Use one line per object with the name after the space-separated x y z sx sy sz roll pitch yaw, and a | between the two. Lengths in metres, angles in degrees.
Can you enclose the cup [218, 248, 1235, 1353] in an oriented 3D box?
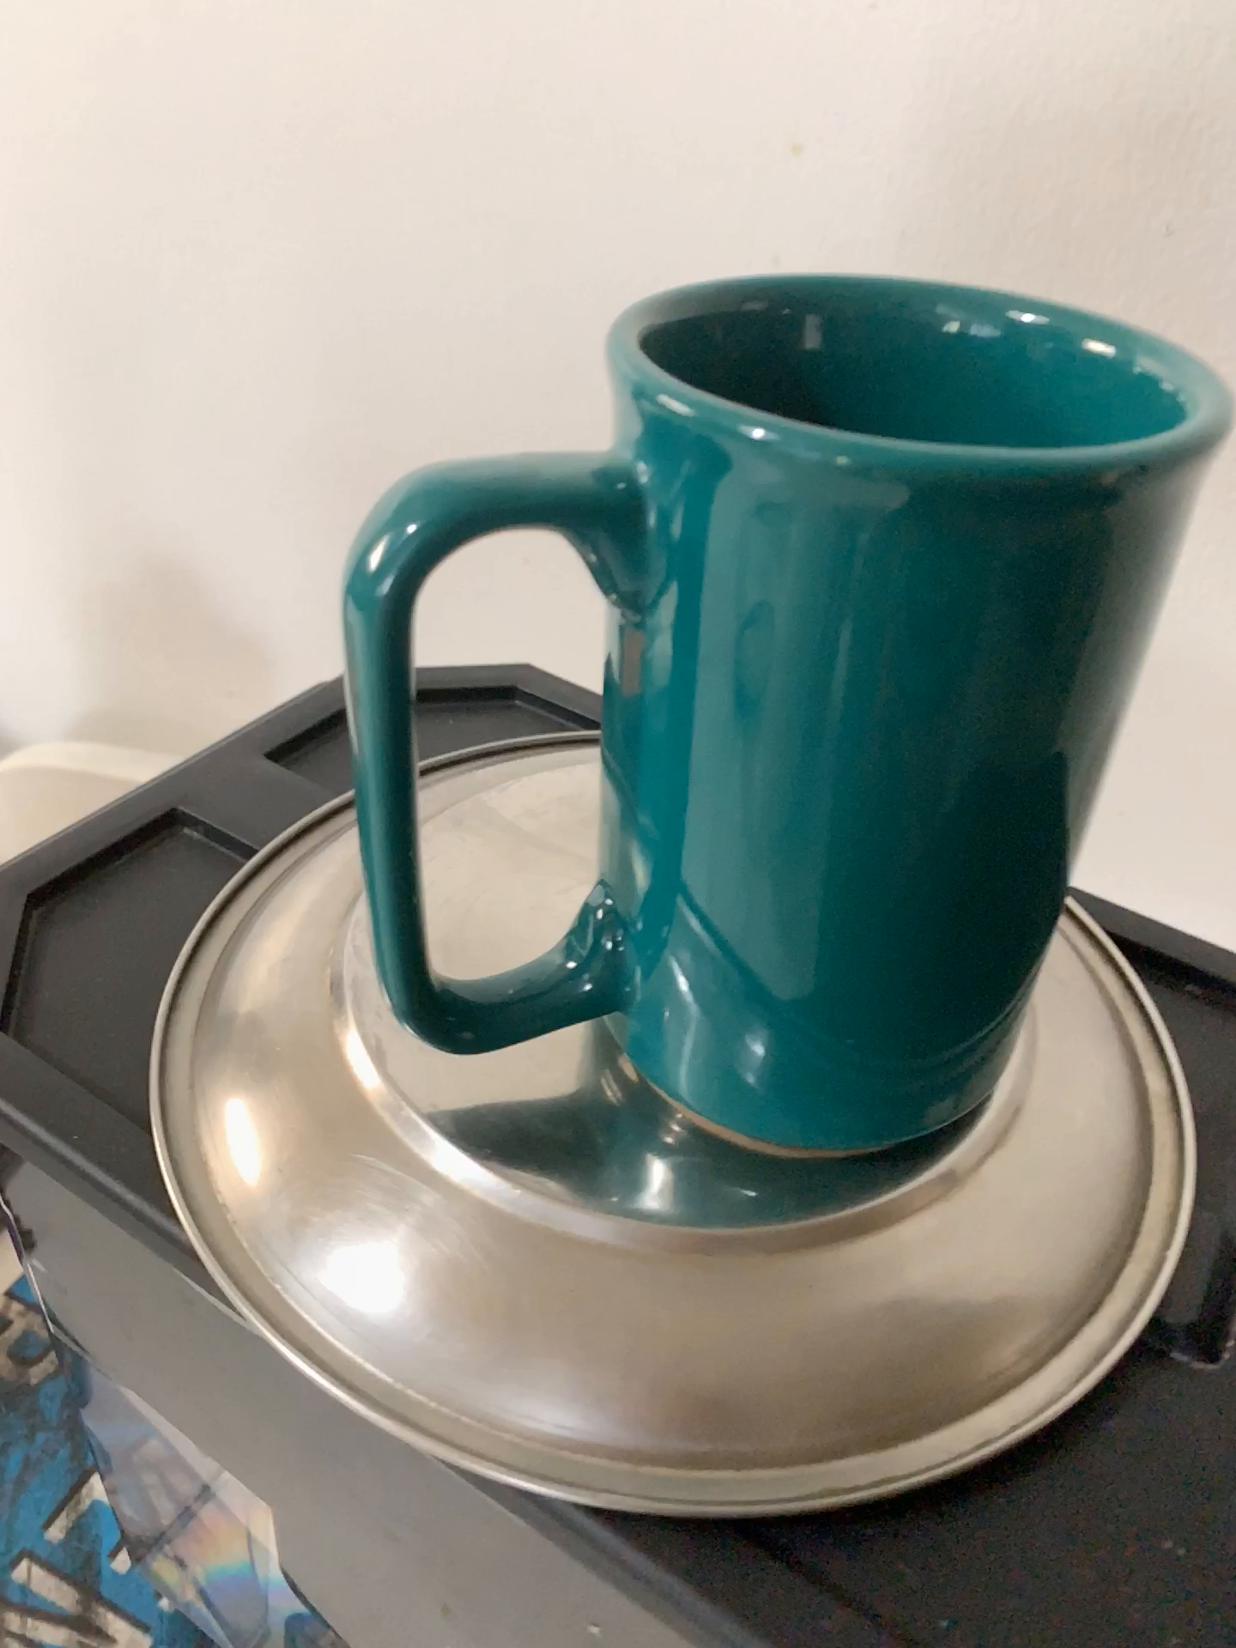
0.016 -0.011 0.190 0.120 0.119 0.081 -11 38 -21 | cup
